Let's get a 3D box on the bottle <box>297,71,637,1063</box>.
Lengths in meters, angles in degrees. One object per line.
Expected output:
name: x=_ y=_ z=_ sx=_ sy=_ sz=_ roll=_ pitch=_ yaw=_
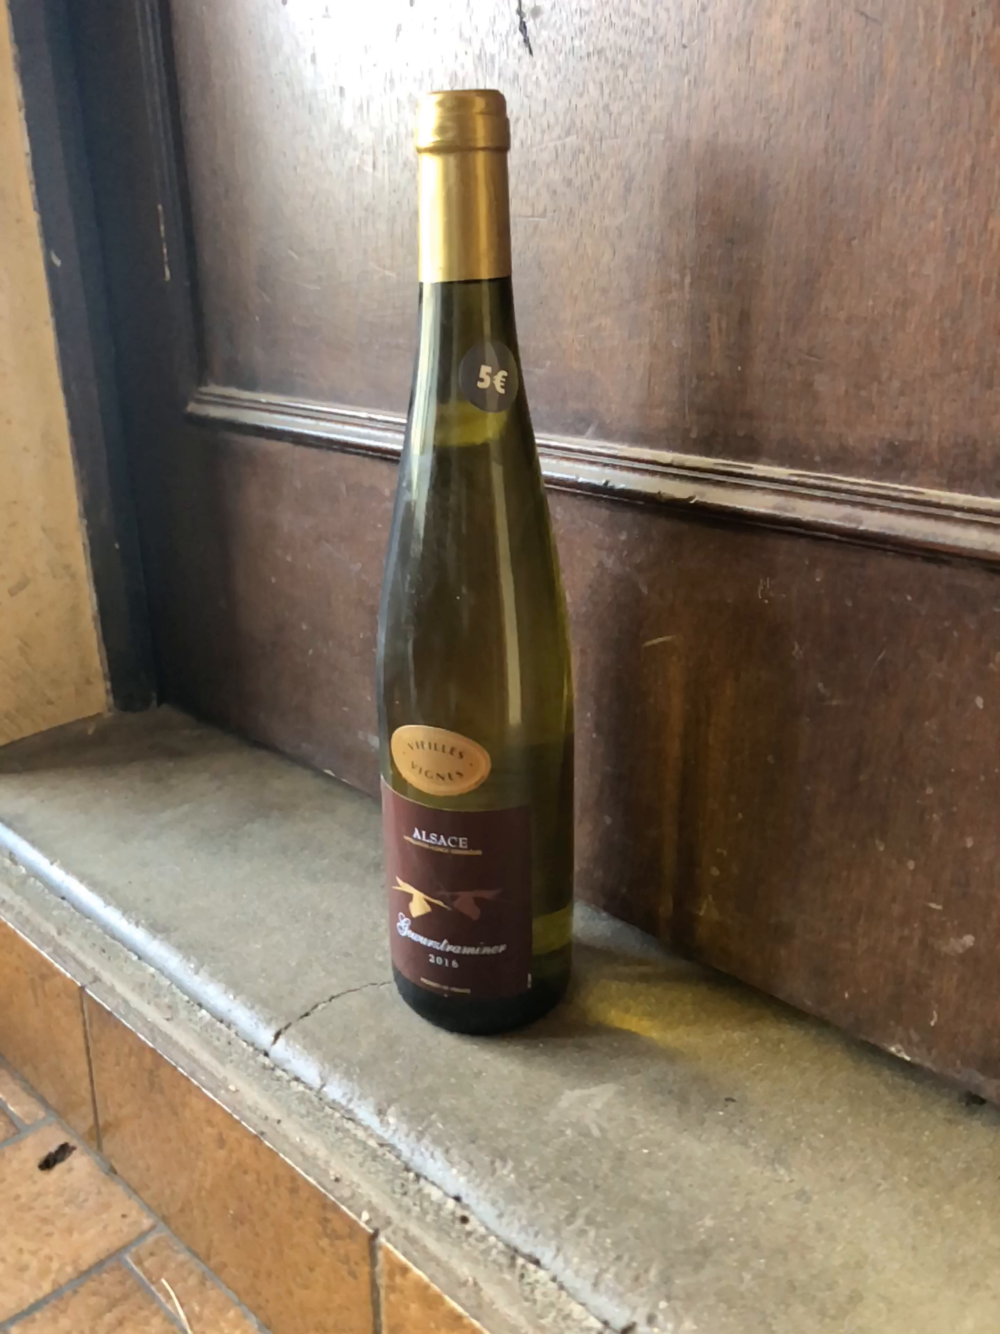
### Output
bottle: x=-0.004 y=-0.023 z=0.379 sx=0.080 sy=0.308 sz=0.080 roll=-1 pitch=21 yaw=0
